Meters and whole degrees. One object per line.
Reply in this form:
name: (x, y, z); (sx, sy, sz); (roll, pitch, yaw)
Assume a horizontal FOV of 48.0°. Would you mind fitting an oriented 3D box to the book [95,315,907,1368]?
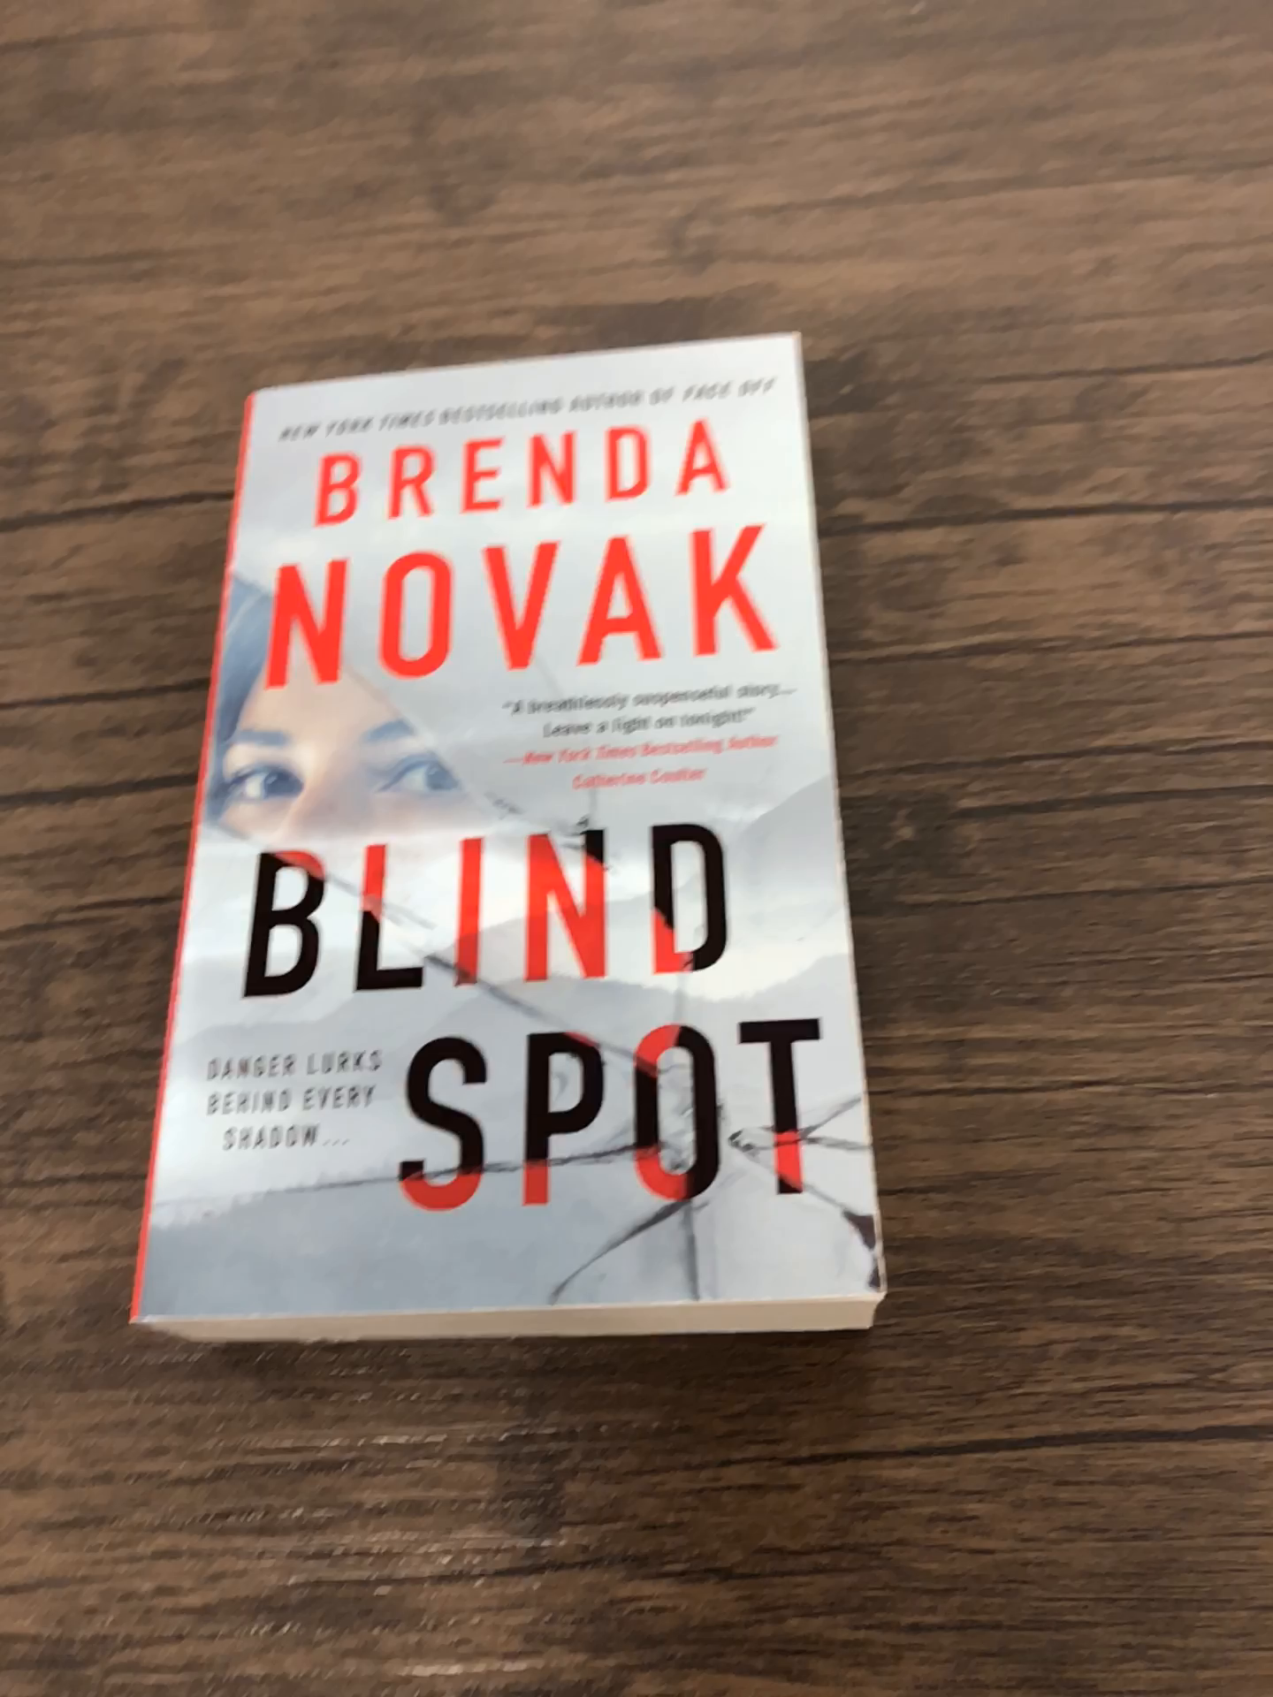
book: (-0.020, -0.007, 0.245); (0.109, 0.039, 0.175); (-3, 65, 4)
